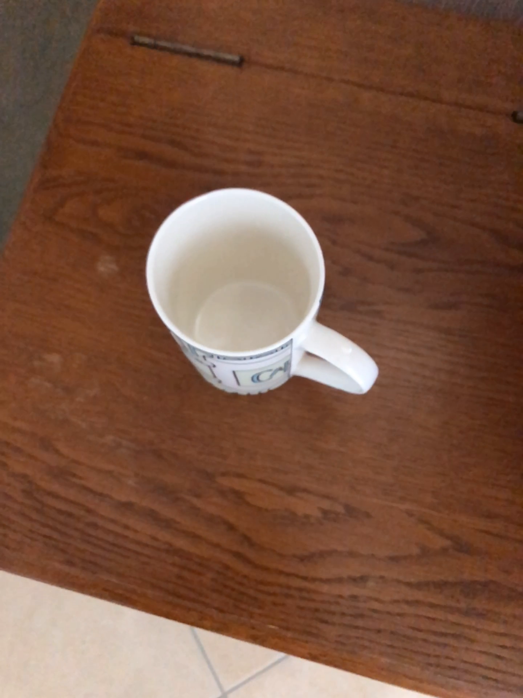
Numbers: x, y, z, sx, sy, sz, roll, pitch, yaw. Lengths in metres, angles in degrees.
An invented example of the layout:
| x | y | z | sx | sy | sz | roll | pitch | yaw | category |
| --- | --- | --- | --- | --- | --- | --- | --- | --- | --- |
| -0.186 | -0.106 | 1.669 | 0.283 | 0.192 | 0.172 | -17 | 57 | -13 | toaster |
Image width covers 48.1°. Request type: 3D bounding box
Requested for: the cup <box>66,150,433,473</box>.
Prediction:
| x | y | z | sx | sy | sz | roll | pitch | yaw | category |
| --- | --- | --- | --- | --- | --- | --- | --- | --- | --- |
| -0.003 | -0.009 | 0.279 | 0.120 | 0.100 | 0.080 | 30 | 79 | 8 | cup |
